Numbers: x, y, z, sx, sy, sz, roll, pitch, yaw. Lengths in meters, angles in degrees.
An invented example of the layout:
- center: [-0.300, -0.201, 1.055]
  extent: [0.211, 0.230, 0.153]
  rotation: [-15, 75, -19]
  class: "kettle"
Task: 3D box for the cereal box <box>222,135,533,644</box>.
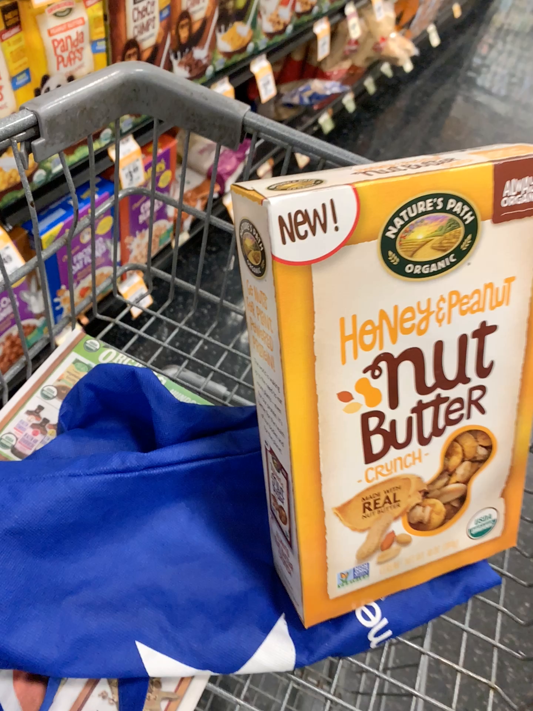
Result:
- center: [0.075, 0.021, 0.293]
  extent: [0.160, 0.239, 0.050]
  rotation: [-14, 27, -16]
  class: "cereal box"
